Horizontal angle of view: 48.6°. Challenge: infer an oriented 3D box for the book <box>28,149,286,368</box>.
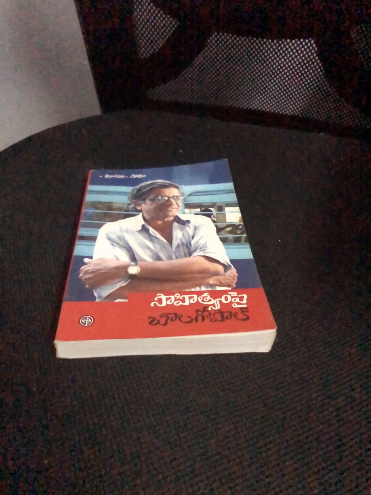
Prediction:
[{"bbox_3d":[-0.023,-0.012,0.337,0.152,0.030,0.226,-2,41,-4],"label":"book"}]
